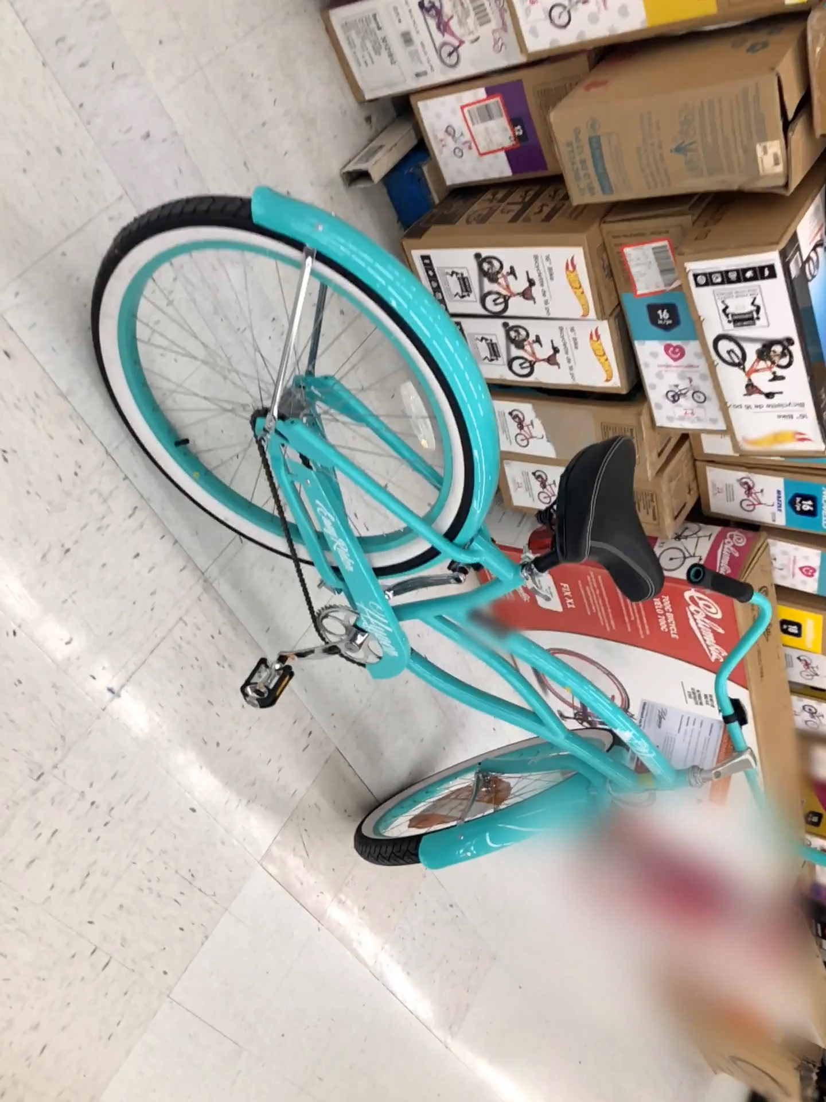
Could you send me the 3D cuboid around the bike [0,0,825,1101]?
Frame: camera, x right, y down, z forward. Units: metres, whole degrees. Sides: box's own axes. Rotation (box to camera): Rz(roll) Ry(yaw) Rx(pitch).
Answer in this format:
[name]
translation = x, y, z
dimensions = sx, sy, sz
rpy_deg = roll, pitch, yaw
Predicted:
[bike]
translation = 0.247, 0.085, 1.531
dimensions = 1.589, 1.152, 0.852
rpy_deg = 52, 58, -43
